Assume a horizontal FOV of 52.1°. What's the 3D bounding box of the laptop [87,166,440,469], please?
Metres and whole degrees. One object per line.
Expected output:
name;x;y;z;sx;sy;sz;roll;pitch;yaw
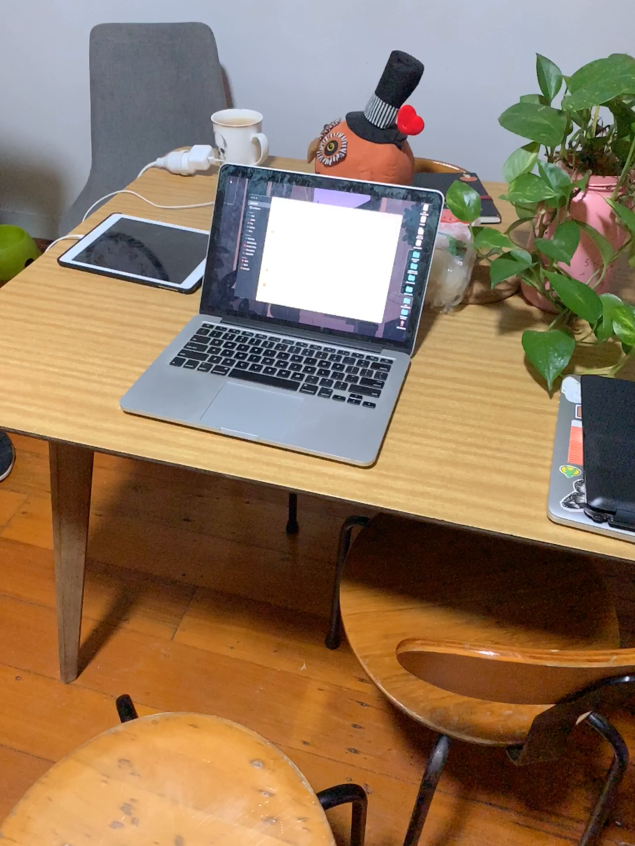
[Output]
laptop;-0.033;-0.131;0.677;0.263;0.144;0.288;12;42;14
